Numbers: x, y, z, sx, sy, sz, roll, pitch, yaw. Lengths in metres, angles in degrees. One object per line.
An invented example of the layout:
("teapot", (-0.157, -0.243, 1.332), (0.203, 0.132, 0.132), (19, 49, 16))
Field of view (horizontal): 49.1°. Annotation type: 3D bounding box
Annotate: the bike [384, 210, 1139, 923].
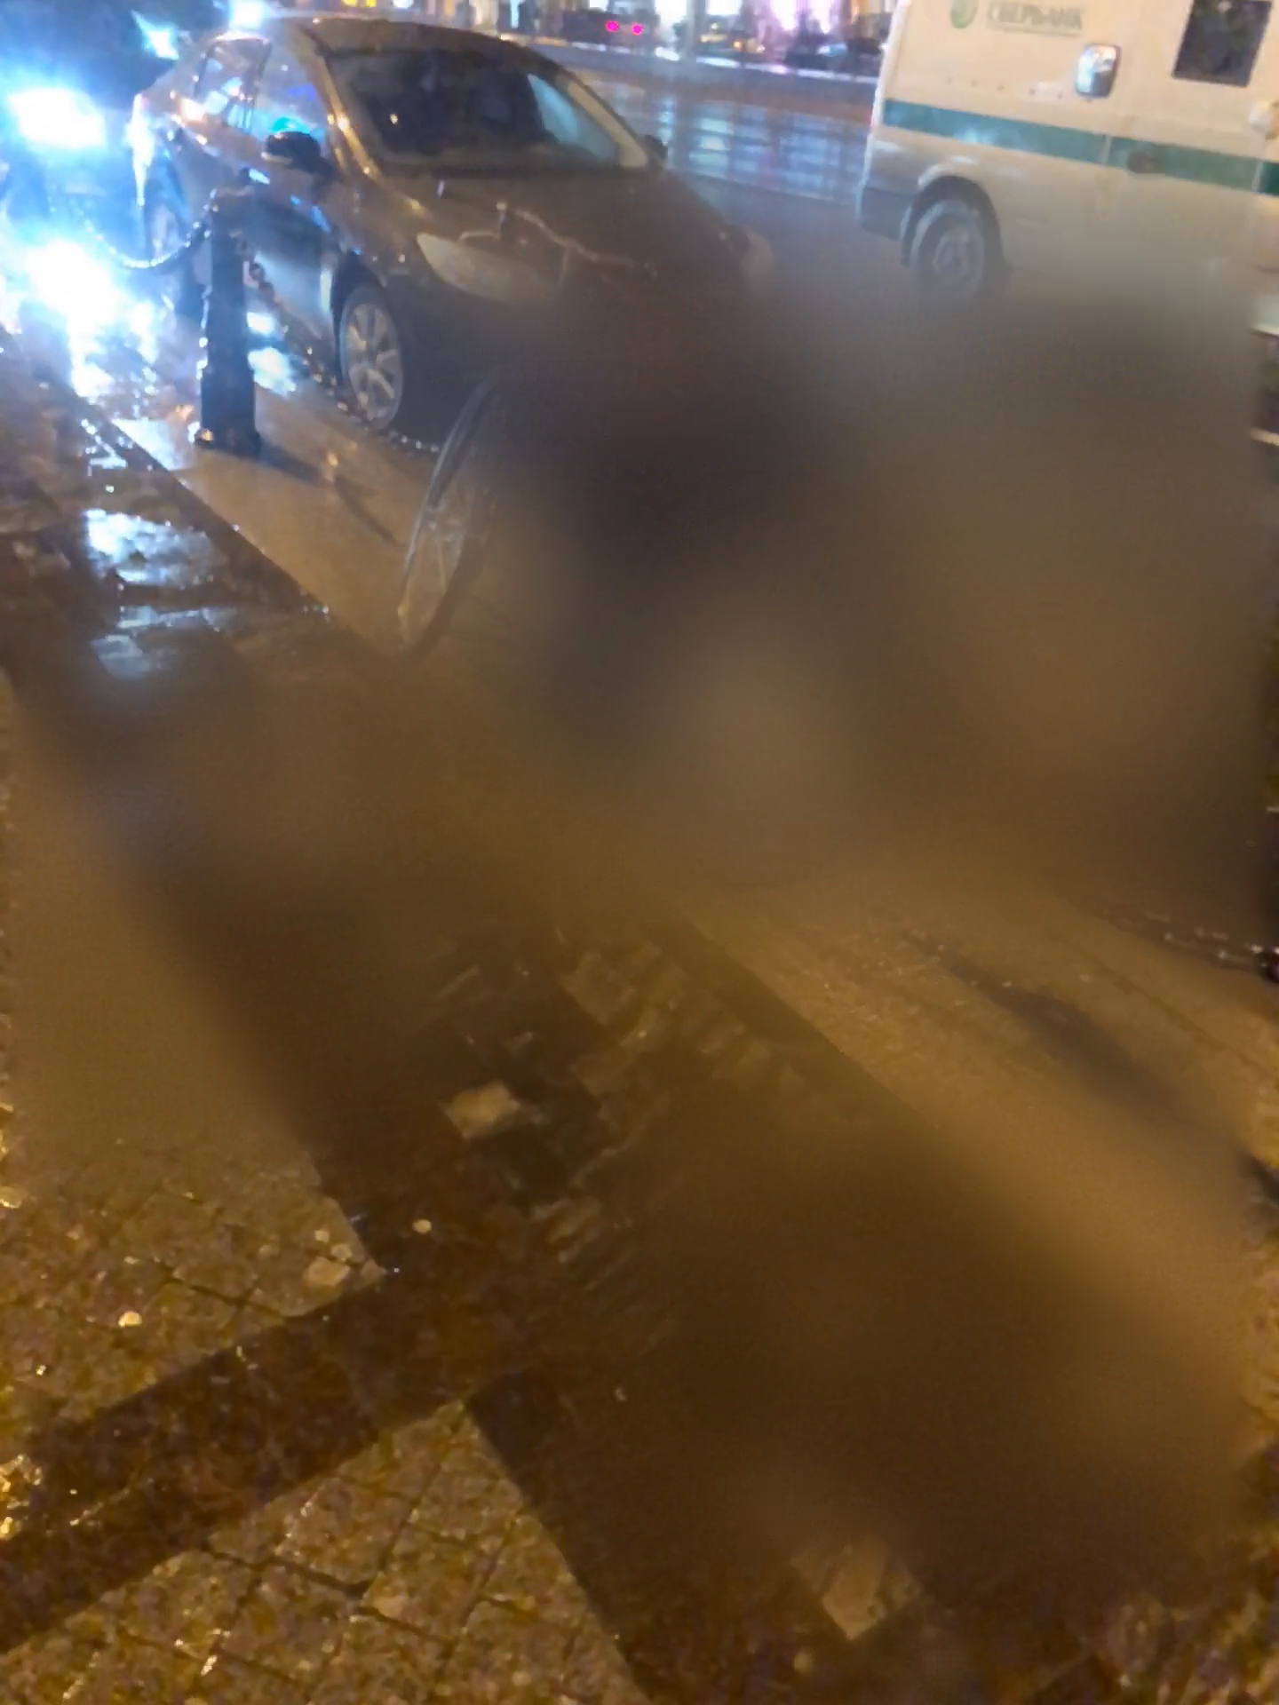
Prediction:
("bike", (0.049, -0.726, 2.881), (0.554, 0.961, 1.754), (-12, 31, -28))
